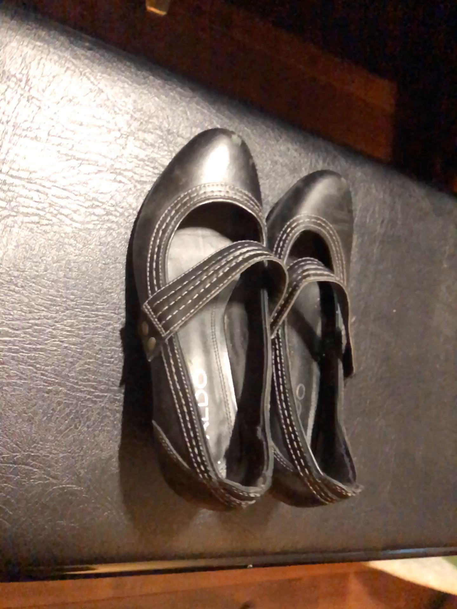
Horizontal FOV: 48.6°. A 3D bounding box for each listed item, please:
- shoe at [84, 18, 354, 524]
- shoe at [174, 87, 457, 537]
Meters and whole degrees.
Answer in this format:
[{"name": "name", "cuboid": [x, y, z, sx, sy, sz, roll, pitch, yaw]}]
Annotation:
[{"name": "shoe", "cuboid": [-0.007, -0.012, 0.305, 0.100, 0.110, 0.240, 10, 80, -27]}, {"name": "shoe", "cuboid": [0.060, 0.007, 0.339, 0.100, 0.110, 0.240, 20, 76, -25]}]
